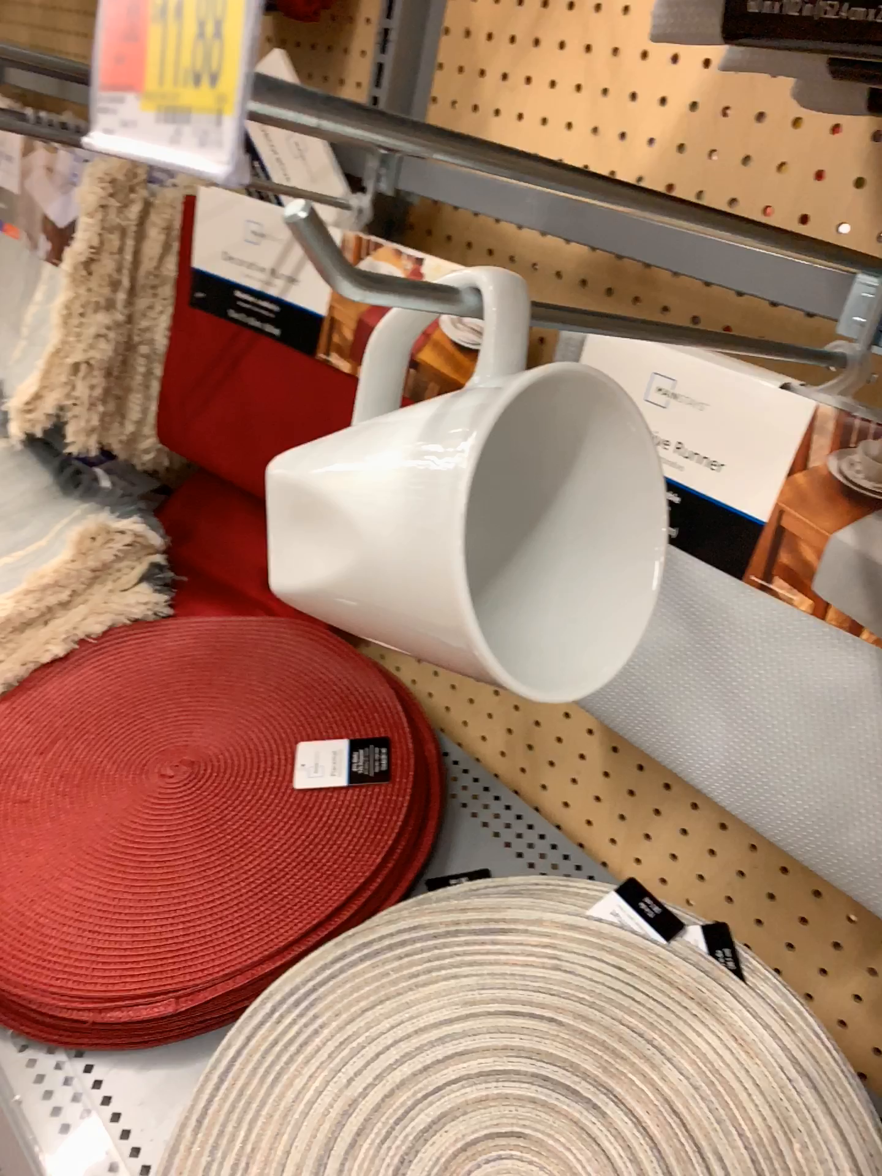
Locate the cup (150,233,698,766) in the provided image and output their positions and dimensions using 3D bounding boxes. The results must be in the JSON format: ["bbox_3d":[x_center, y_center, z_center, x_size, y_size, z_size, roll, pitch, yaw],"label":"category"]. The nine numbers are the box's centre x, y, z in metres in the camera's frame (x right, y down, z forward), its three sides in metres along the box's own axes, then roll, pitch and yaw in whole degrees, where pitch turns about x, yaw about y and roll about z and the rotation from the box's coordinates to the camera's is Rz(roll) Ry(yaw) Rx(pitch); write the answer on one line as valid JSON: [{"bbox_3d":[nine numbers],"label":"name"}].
[{"bbox_3d":[-0.013,-0.038,0.280,0.090,0.120,0.140,-12,21,-40],"label":"cup"}]
